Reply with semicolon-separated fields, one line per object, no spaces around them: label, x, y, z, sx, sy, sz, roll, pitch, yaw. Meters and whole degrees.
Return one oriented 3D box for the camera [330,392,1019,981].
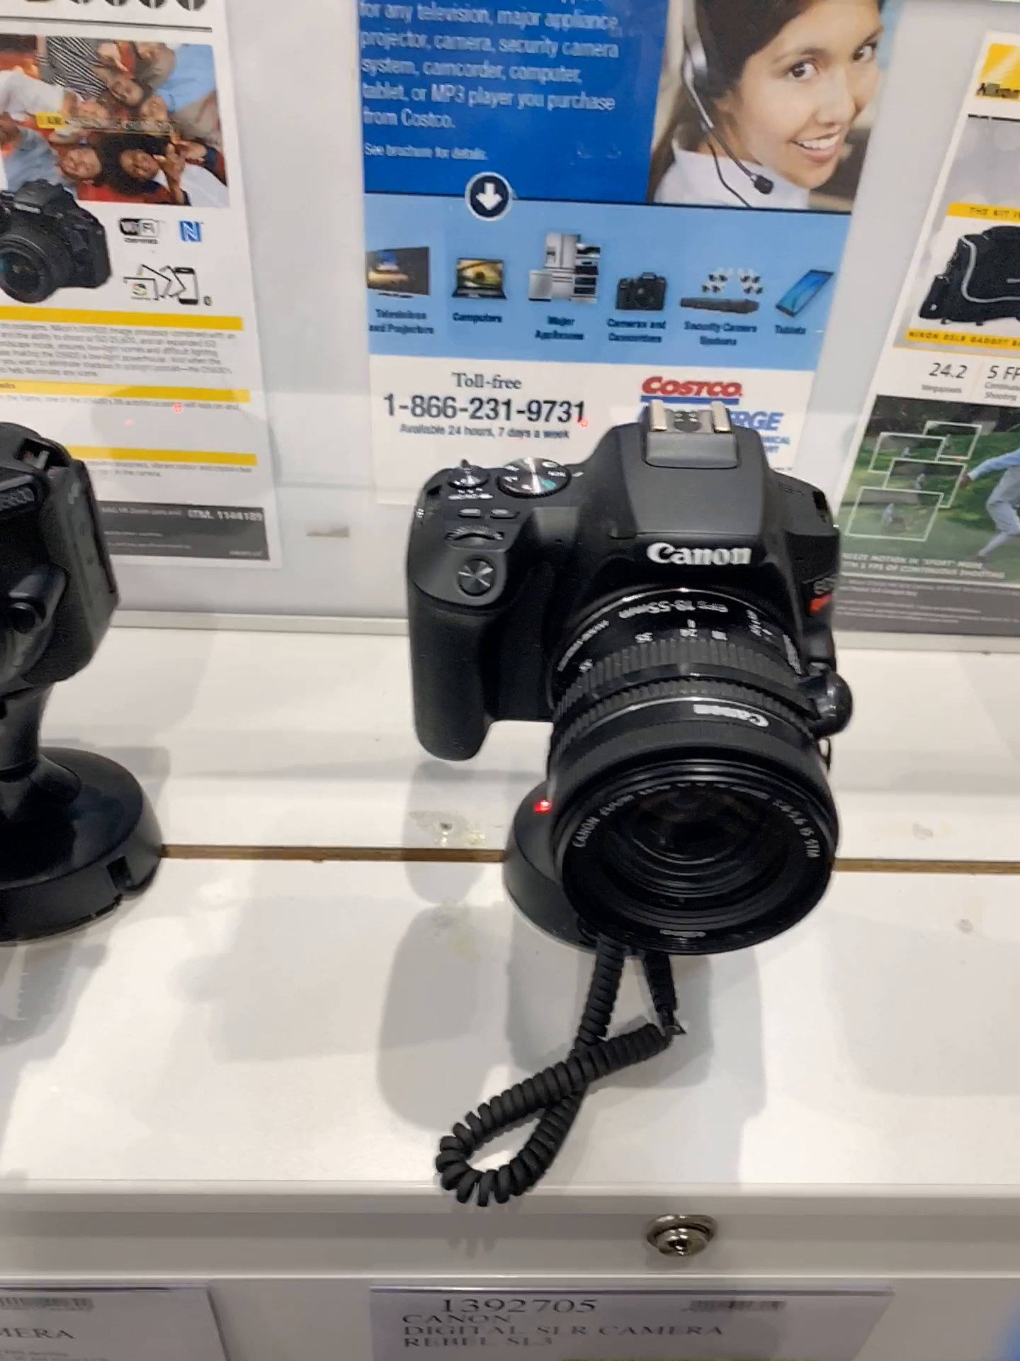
camera;0.029;-0.003;0.252;0.120;0.089;0.111;0;40;0
